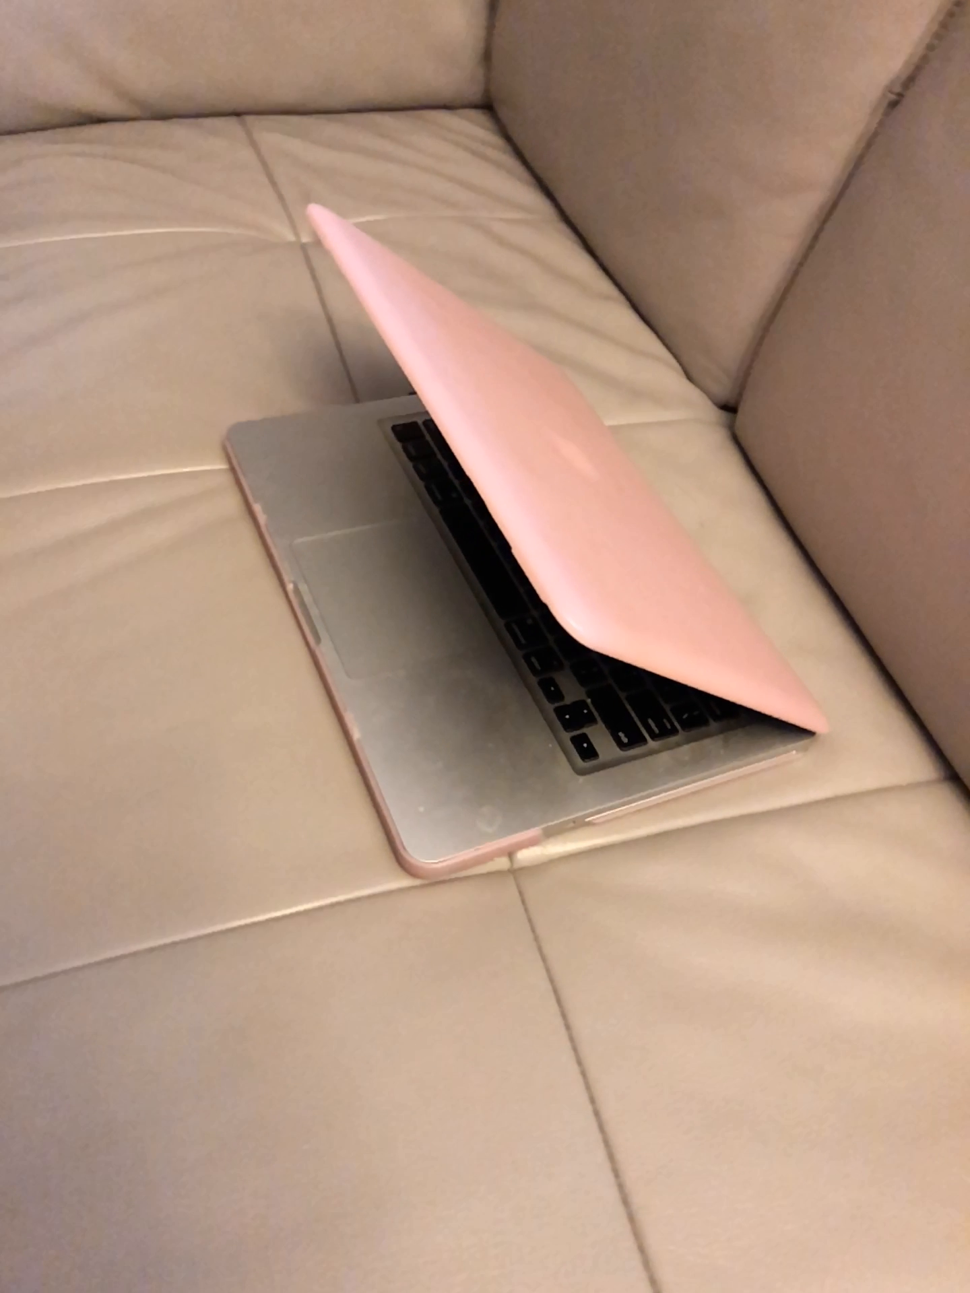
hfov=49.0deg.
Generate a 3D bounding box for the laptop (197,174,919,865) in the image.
[{"bbox_3d":[0.013,-0.088,0.539,0.219,0.145,0.309,-15,52,-19],"label":"laptop"}]
